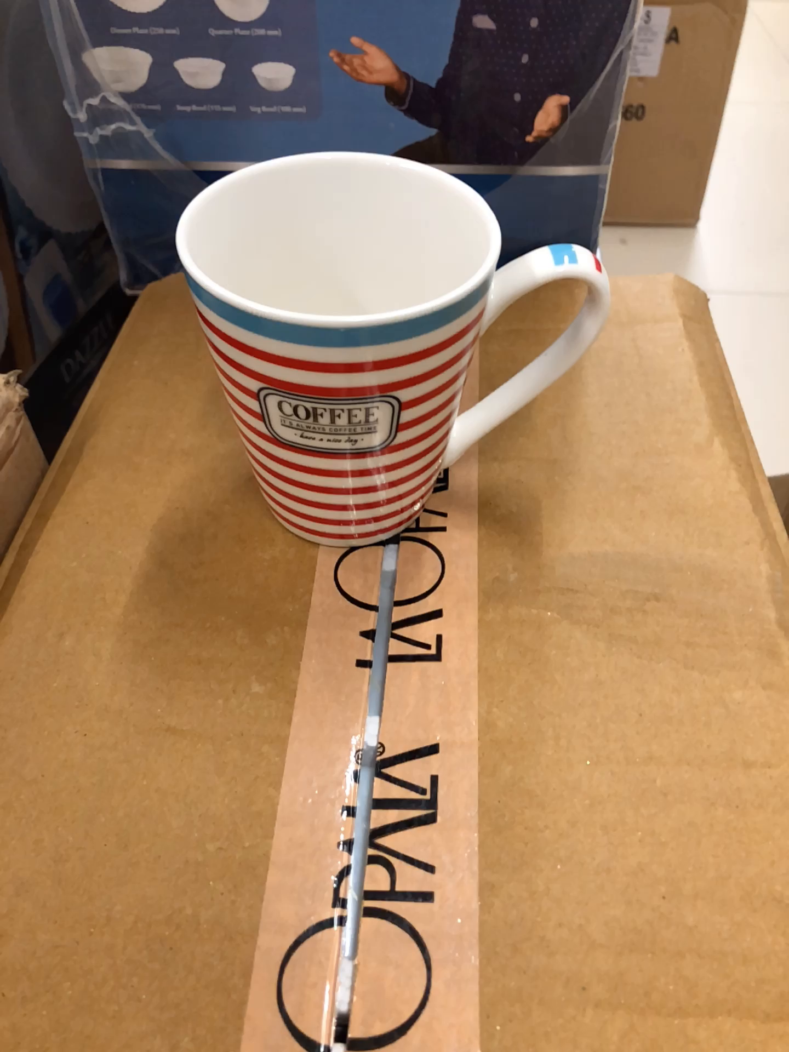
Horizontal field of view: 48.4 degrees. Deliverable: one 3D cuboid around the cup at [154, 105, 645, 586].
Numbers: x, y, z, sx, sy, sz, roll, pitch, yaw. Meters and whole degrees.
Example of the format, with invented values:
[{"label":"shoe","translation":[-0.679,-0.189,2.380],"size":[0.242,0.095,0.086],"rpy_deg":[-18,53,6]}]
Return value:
[{"label":"cup","translation":[-0.002,-0.054,0.262],"size":[0.110,0.099,0.091],"rpy_deg":[-6,44,-5]}]
